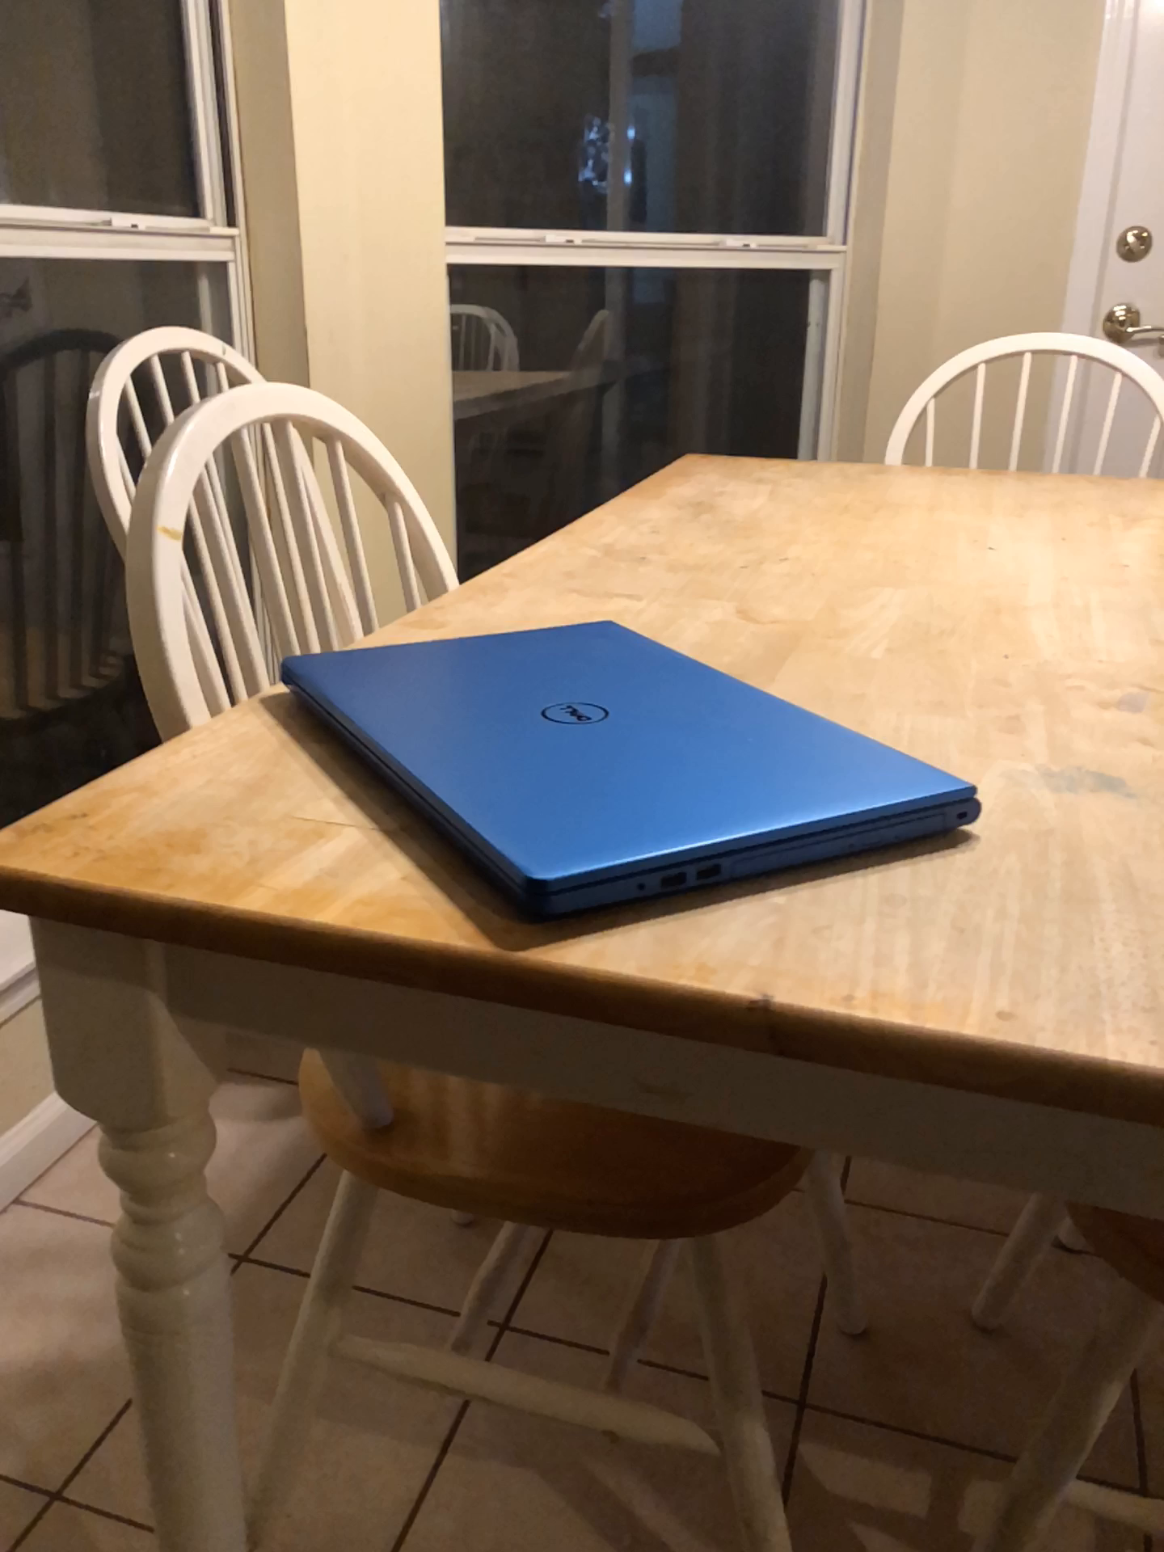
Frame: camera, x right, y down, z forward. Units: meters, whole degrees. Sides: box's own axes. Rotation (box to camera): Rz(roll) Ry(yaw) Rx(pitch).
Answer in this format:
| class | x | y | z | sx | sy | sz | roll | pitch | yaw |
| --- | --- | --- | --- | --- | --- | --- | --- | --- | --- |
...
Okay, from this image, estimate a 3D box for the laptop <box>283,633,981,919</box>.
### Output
| class | x | y | z | sx | sy | sz | roll | pitch | yaw |
| --- | --- | --- | --- | --- | --- | --- | --- | --- | --- |
| laptop | 0.002 | -0.024 | 0.767 | 0.259 | 0.001 | 0.389 | -11 | 24 | -26 |
